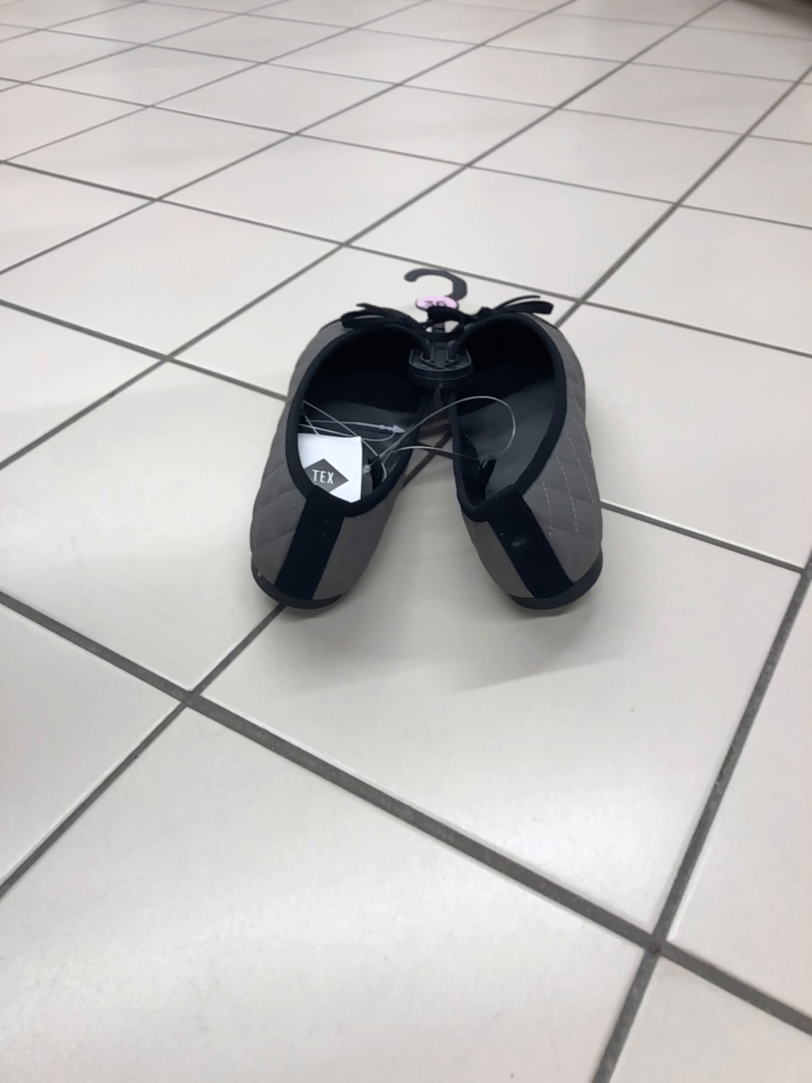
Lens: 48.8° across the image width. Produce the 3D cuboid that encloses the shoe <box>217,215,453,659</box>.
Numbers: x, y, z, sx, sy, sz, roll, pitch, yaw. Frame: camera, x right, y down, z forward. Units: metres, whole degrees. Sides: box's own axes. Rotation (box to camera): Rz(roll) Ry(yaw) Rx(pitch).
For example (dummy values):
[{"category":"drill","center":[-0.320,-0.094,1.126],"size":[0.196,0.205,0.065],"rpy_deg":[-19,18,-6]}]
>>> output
[{"category":"shoe","center":[-0.026,-0.067,0.443],"size":[0.078,0.080,0.244],"rpy_deg":[12,41,-7]}]

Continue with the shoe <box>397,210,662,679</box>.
[{"category":"shoe","center":[0.050,-0.062,0.431],"size":[0.078,0.081,0.243],"rpy_deg":[-18,38,16]}]
